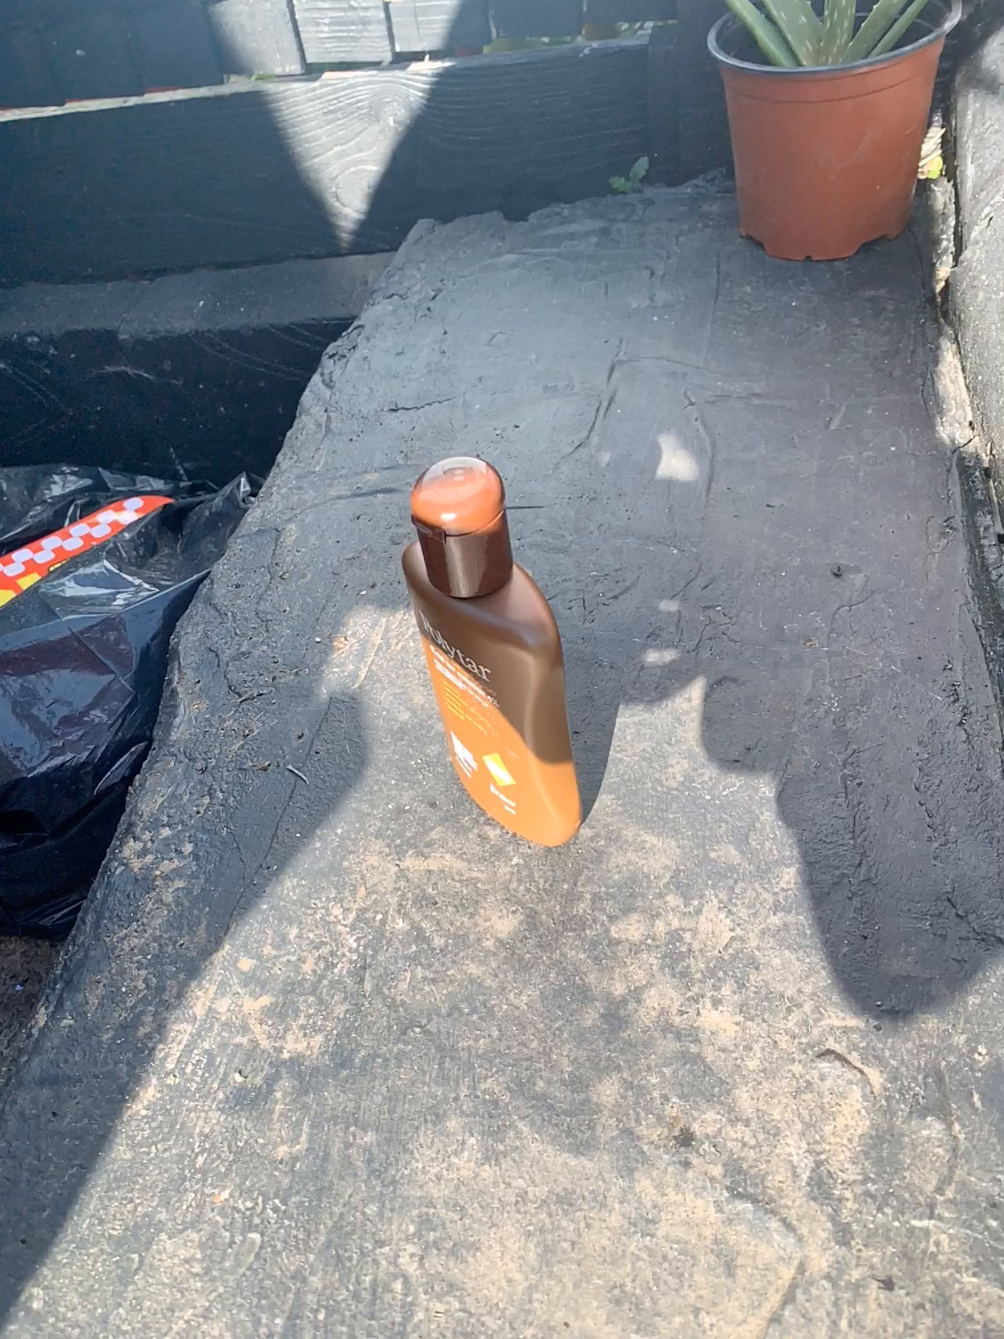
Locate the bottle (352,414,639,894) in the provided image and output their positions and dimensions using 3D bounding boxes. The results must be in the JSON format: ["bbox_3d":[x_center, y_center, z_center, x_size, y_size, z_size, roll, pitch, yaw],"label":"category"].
[{"bbox_3d":[0.004,0.001,0.341,0.040,0.149,0.070,-36,51,-23],"label":"bottle"}]
